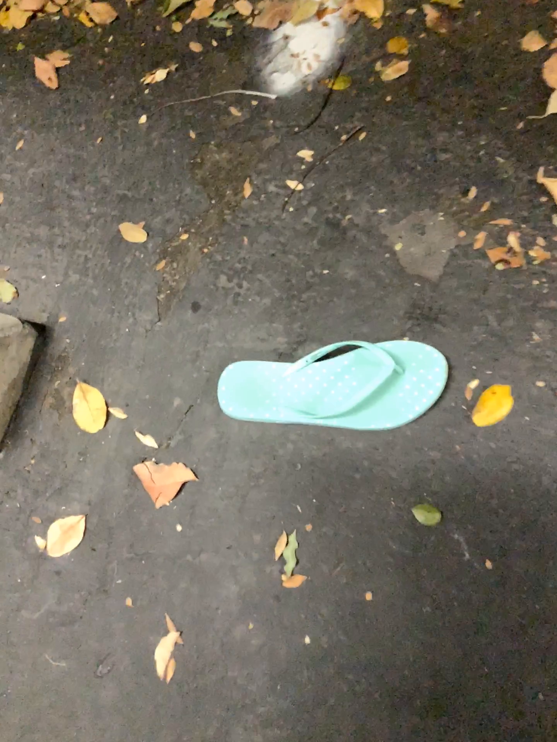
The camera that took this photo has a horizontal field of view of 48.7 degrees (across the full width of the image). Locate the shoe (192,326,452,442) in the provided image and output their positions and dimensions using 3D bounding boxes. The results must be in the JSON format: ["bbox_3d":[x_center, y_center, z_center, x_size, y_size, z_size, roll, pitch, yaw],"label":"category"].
[{"bbox_3d":[0.048,0.015,0.706,0.280,0.050,0.120,0,70,7],"label":"shoe"}]
